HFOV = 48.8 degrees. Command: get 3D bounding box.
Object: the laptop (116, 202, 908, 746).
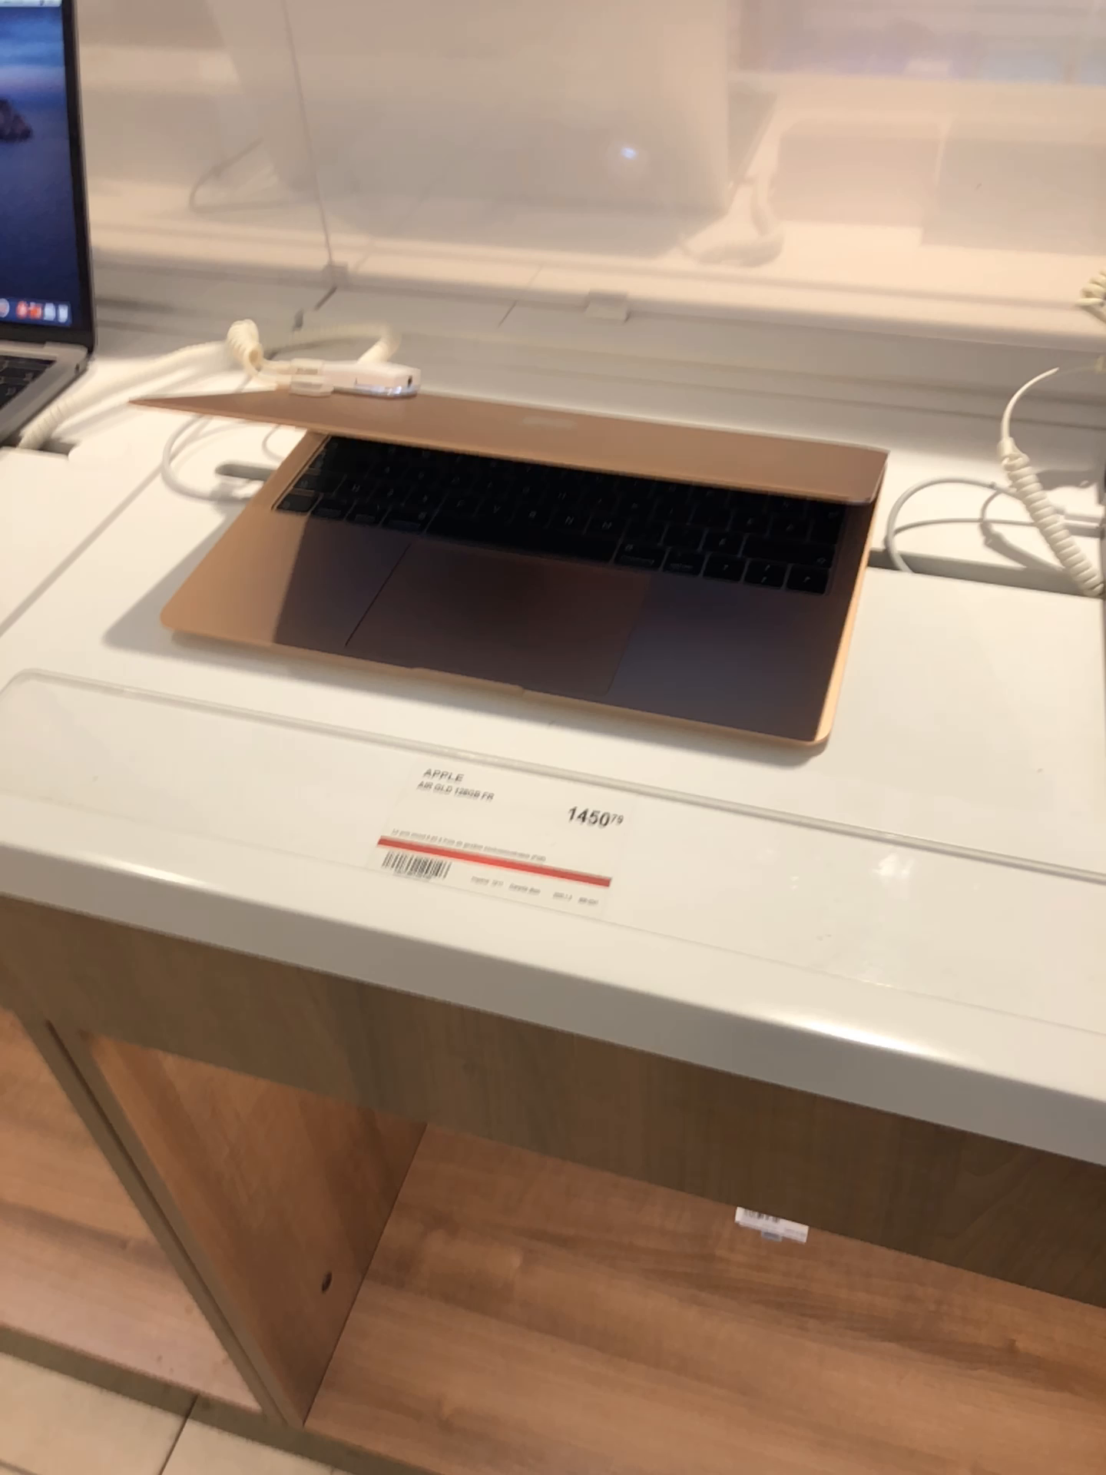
[{"bbox_3d":[-0.005,-0.141,0.555,0.298,0.104,0.226,11,45,17],"label":"laptop"}]
